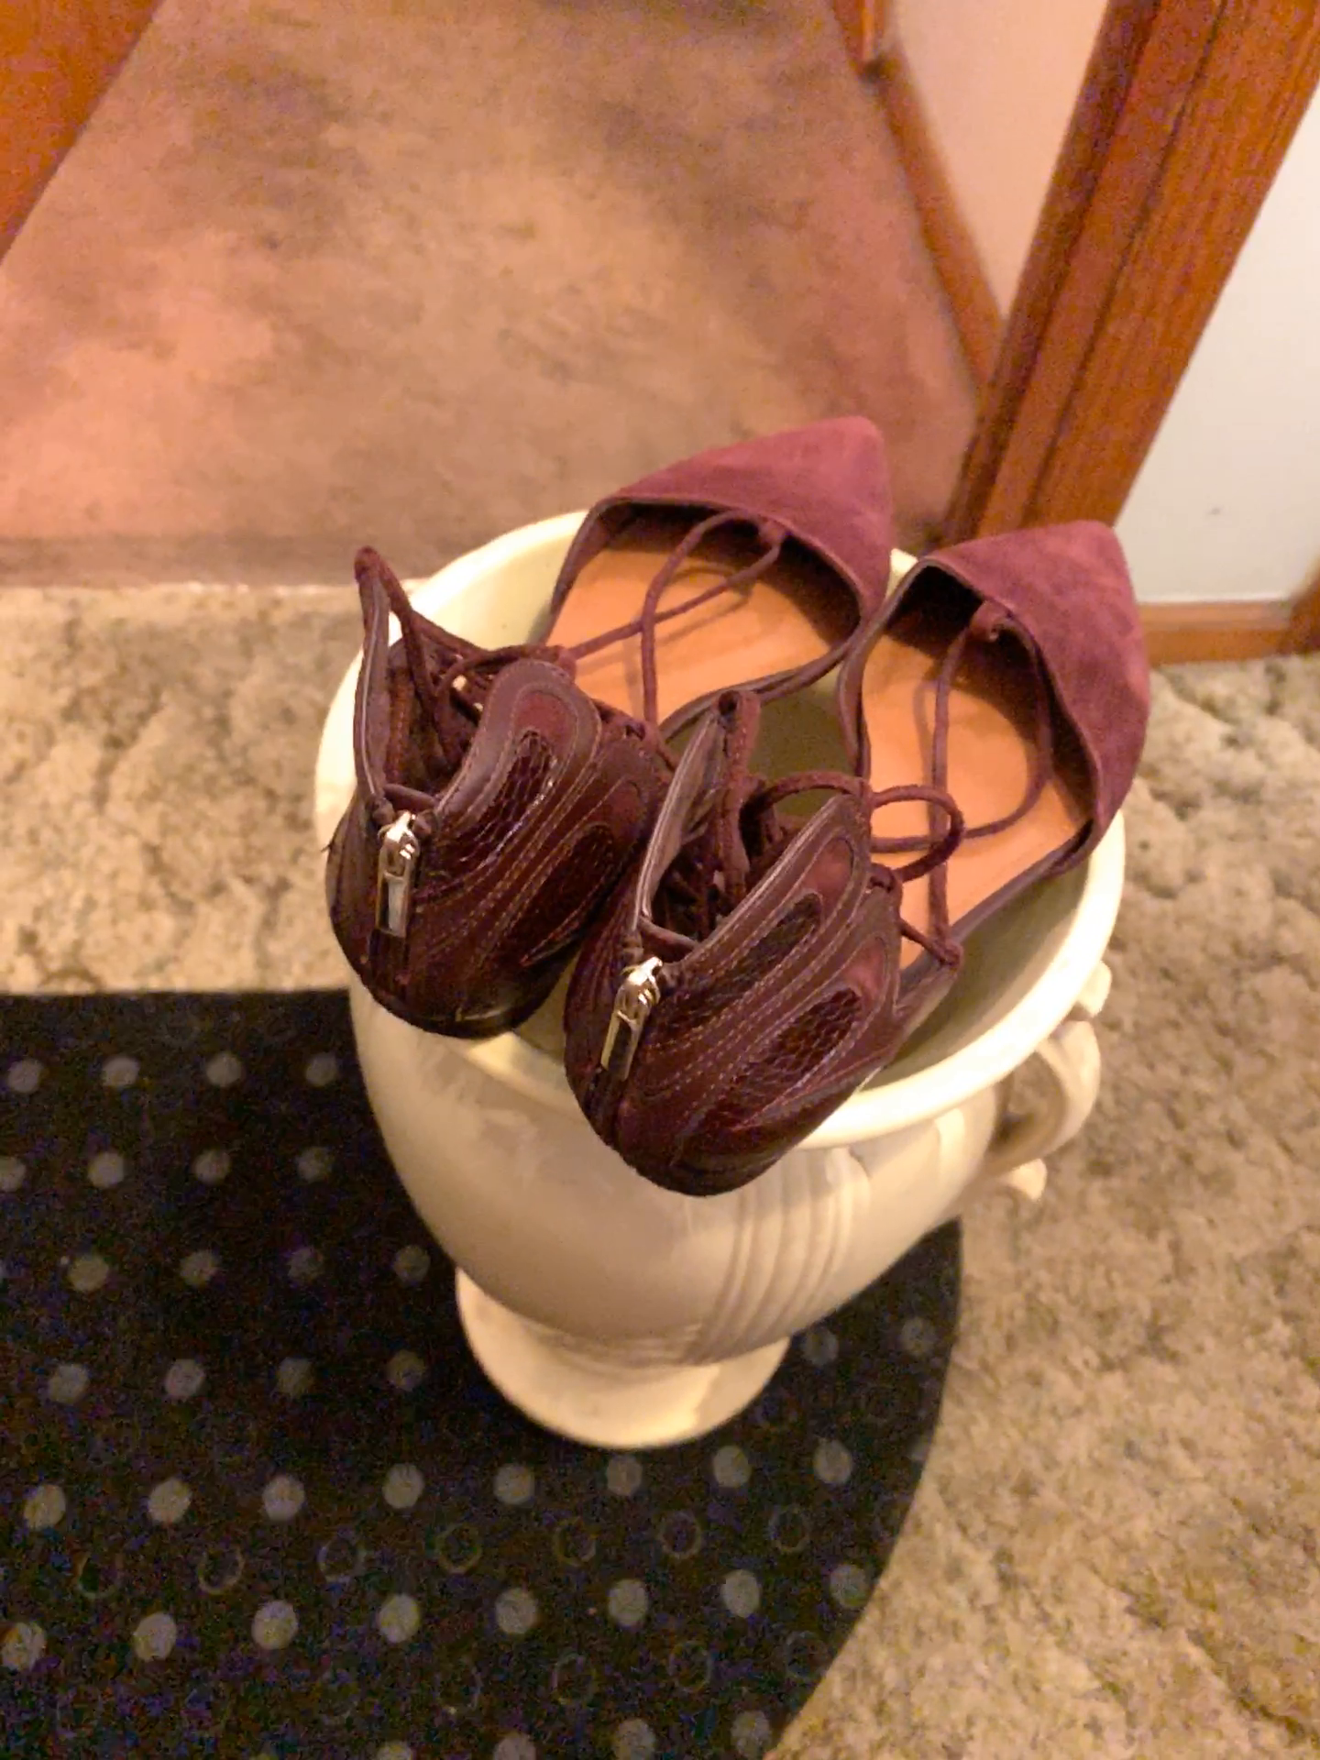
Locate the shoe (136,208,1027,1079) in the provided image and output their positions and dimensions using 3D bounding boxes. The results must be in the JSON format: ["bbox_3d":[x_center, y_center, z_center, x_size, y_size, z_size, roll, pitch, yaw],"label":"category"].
[{"bbox_3d":[0.002,-0.087,0.360,0.090,0.069,0.282,27,48,12],"label":"shoe"}]

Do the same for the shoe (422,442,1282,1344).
[{"bbox_3d":[0.070,-0.026,0.352,0.090,0.069,0.282,33,43,15],"label":"shoe"}]
